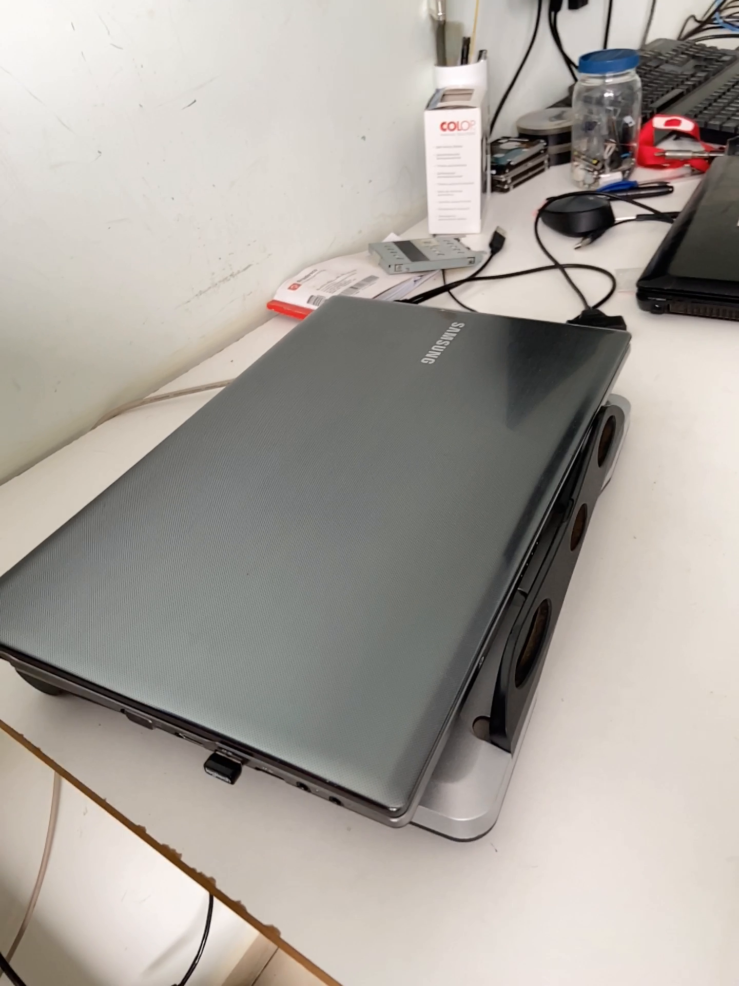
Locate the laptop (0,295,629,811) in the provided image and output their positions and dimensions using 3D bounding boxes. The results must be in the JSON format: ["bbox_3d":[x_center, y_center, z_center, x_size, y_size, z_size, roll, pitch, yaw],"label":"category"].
[{"bbox_3d":[-0.010,-0.024,0.444,0.236,0.005,0.375,13,42,24],"label":"laptop"}]
